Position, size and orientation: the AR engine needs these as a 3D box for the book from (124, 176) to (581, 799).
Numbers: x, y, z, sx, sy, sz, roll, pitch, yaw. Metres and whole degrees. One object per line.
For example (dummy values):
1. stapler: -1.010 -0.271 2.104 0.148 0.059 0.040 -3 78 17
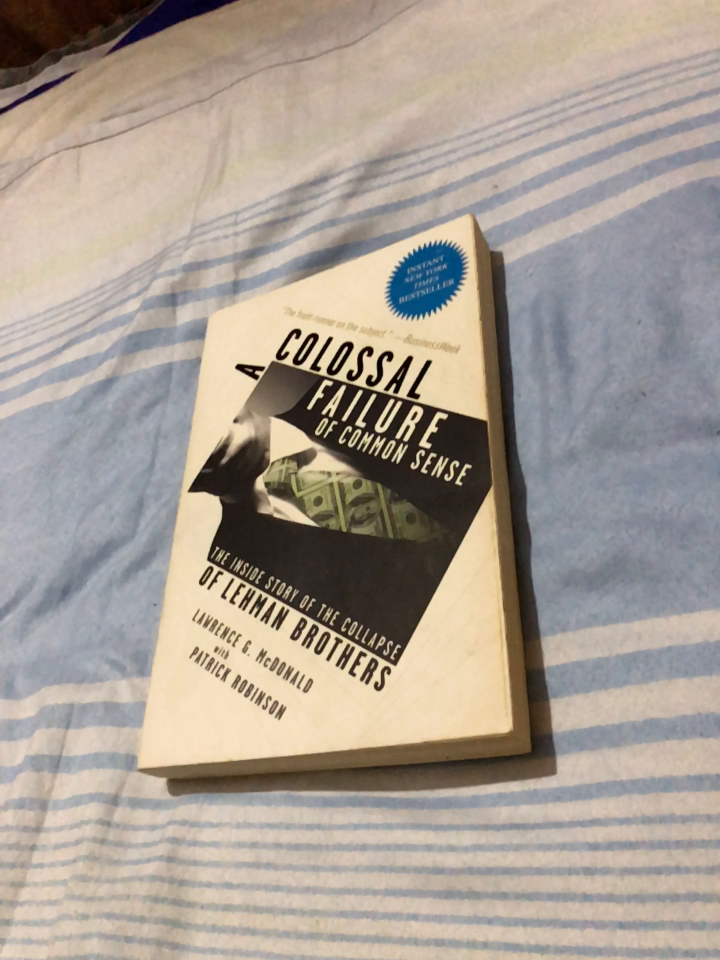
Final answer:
1. book: -0.005 -0.002 0.308 0.140 0.040 0.220 -14 57 23
